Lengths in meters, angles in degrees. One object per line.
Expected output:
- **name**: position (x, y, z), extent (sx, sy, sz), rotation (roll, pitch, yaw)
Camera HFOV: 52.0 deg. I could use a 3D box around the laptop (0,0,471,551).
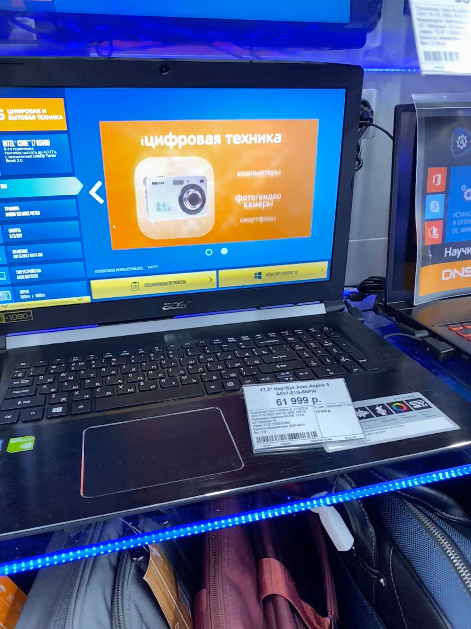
- **laptop**: position (-0.032, -0.067, 0.391), extent (0.421, 0.277, 0.273), rotation (-6, 21, -14)
